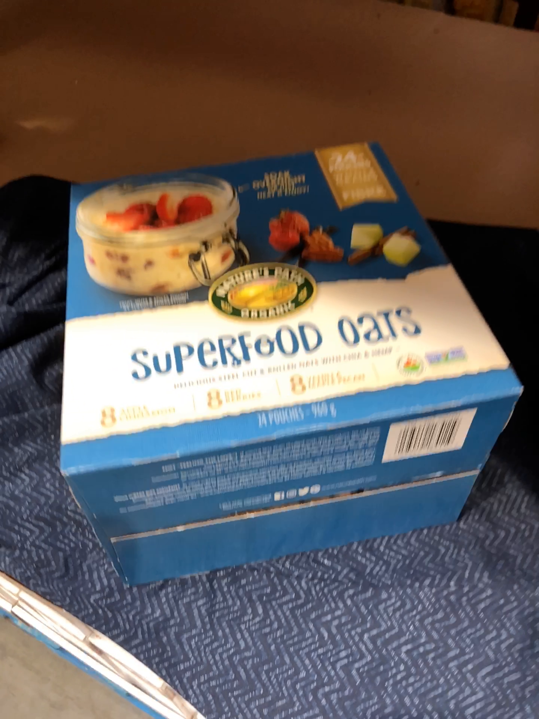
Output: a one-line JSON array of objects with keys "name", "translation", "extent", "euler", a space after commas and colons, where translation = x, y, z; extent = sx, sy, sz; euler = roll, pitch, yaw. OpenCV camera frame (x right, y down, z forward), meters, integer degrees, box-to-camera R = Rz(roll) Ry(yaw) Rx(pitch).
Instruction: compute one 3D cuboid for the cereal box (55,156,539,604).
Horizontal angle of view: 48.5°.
[{"name": "cereal box", "translation": [0.001, 0.001, 0.424], "extent": [0.250, 0.149, 0.241], "euler": [-9, 50, -7]}]
